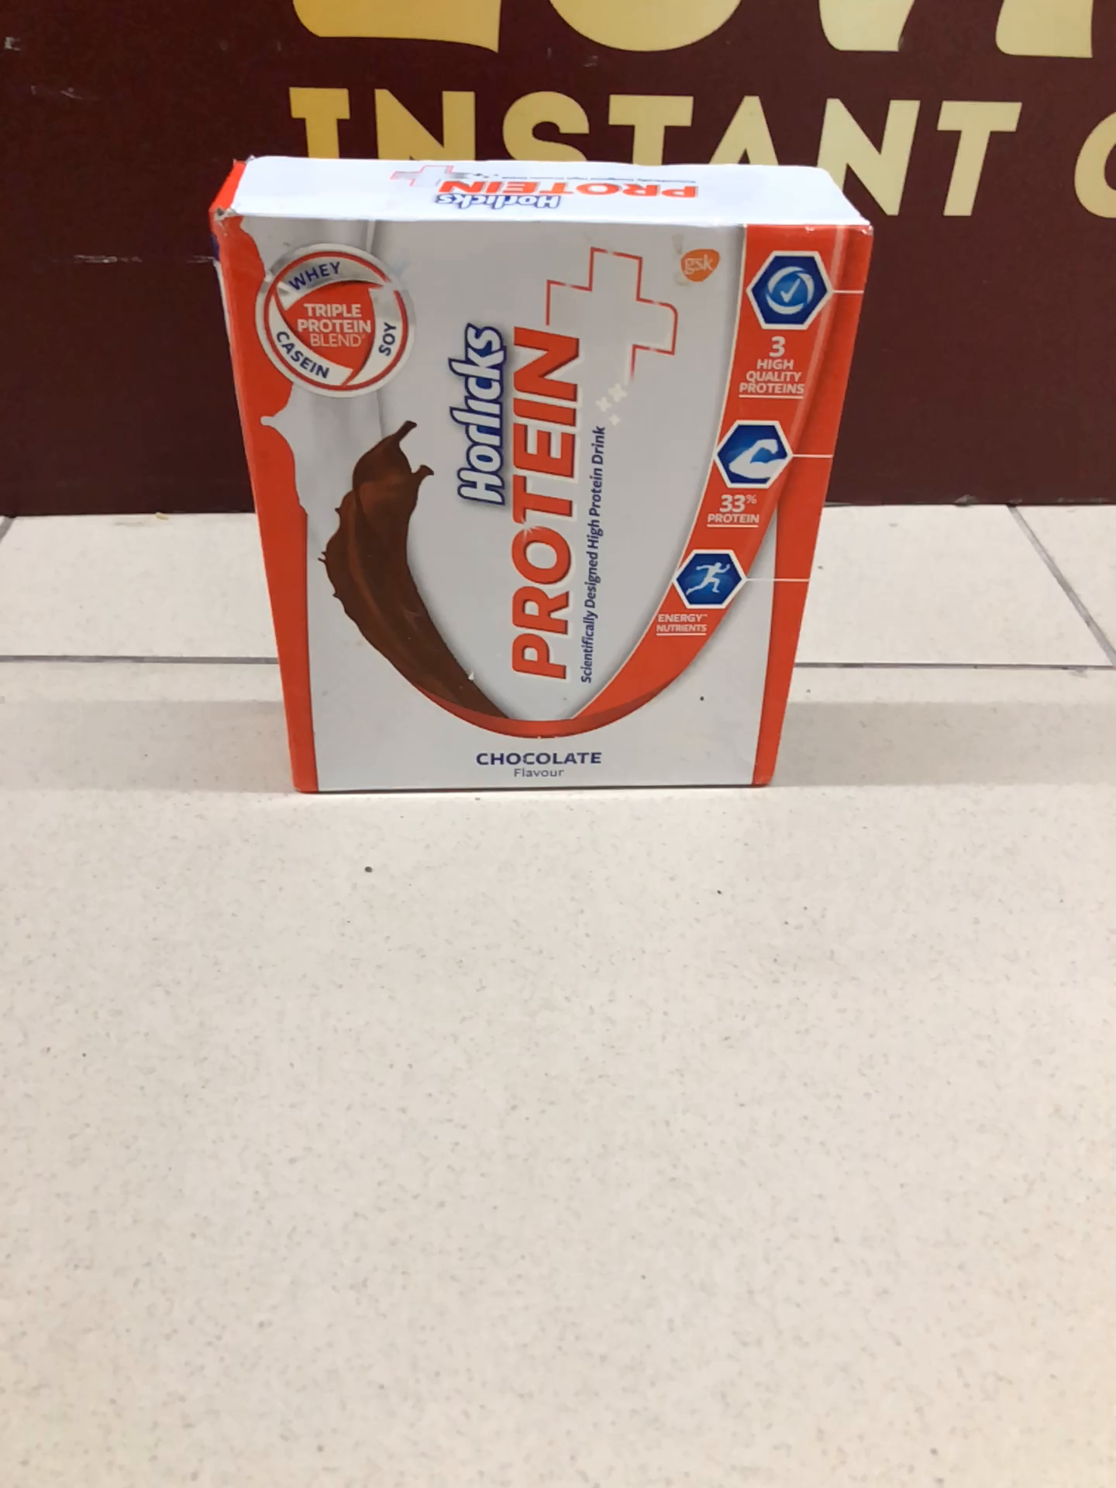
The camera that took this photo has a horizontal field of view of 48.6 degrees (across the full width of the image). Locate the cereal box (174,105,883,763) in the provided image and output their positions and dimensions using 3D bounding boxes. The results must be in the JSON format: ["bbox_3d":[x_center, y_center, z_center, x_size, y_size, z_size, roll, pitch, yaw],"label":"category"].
[{"bbox_3d":[-0.008,-0.071,0.309,0.140,0.149,0.050,-1,38,-4],"label":"cereal box"}]
